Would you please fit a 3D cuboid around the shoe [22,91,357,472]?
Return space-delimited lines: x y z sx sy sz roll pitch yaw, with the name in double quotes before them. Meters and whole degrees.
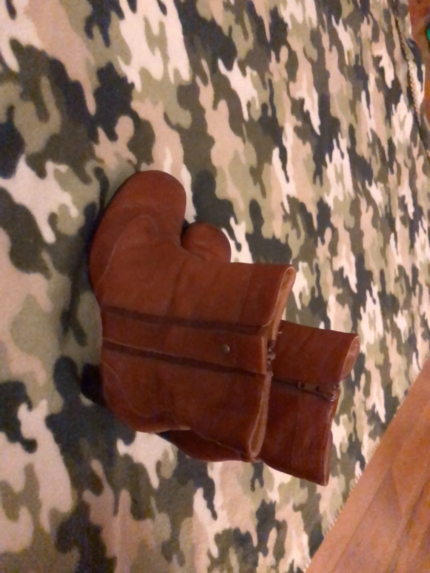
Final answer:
"shoe" -0.019 -0.003 0.358 0.090 0.189 0.220 33 65 -42

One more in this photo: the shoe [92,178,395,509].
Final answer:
"shoe" 0.026 0.040 0.404 0.090 0.189 0.220 37 63 -41
